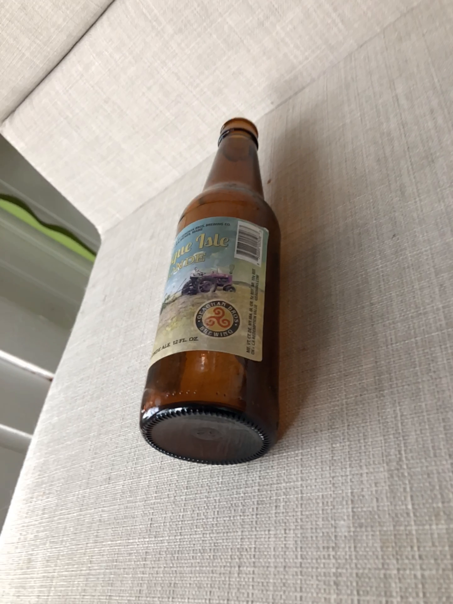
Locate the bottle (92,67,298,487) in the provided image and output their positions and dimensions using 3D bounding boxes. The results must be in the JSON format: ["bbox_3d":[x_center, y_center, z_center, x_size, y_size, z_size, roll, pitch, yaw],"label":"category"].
[{"bbox_3d":[-0.006,-0.029,0.280,0.065,0.060,0.232,-39,34,42],"label":"bottle"}]
